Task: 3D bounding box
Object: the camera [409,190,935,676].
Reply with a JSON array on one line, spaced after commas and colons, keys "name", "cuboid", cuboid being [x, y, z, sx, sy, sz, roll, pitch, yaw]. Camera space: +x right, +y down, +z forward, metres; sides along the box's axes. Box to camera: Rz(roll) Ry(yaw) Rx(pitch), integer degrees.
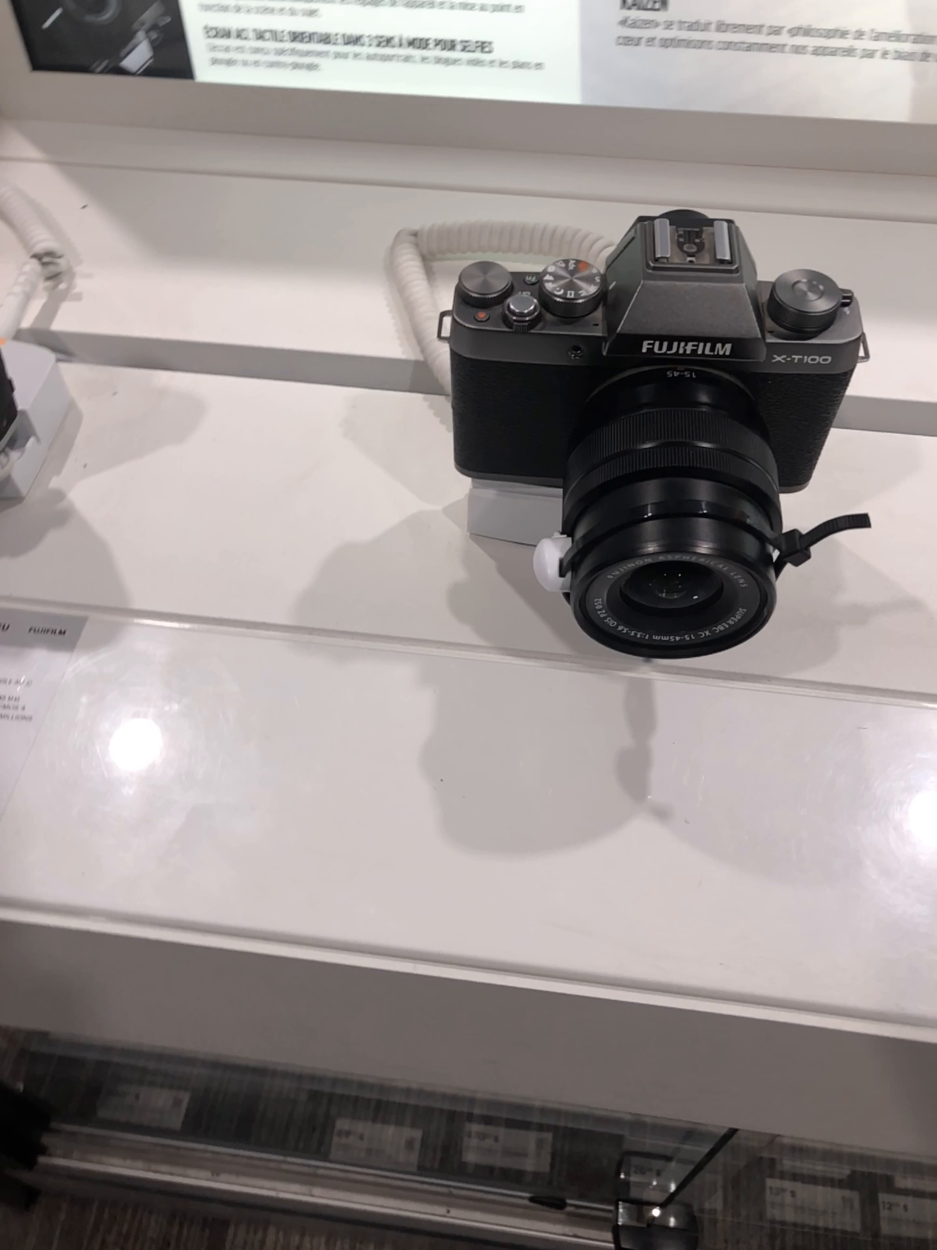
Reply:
[{"name": "camera", "cuboid": [0.056, -0.061, 0.331, 0.130, 0.099, 0.108, 4, 52, 5]}]
